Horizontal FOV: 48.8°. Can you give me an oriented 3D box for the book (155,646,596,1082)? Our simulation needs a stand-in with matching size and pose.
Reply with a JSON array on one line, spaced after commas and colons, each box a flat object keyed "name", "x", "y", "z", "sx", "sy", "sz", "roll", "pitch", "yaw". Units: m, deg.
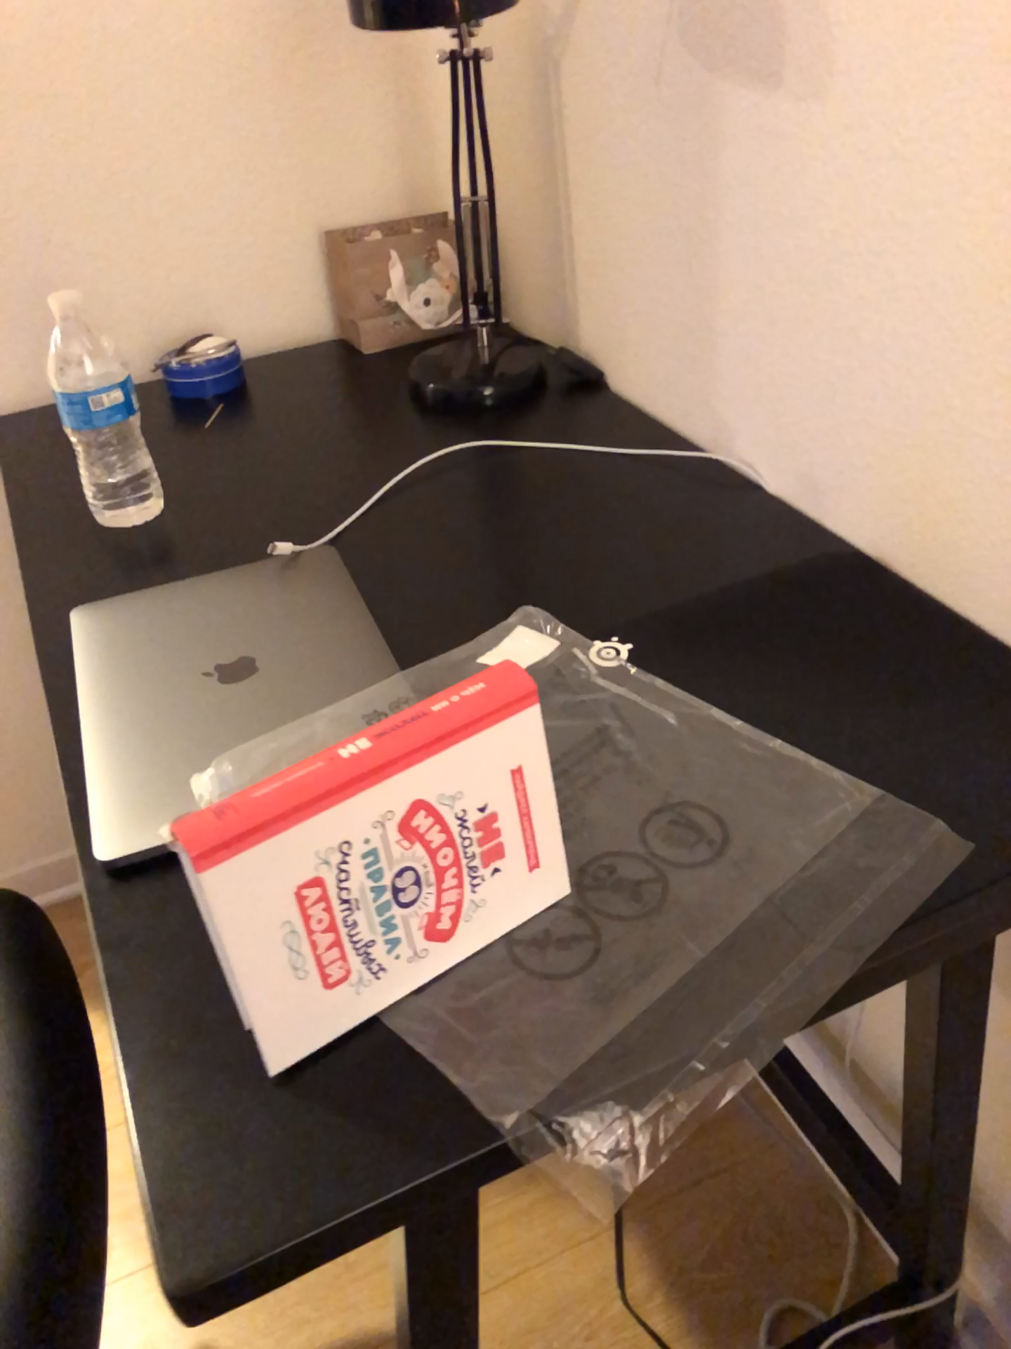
[{"name": "book", "x": -0.051, "y": 0.089, "z": 0.546, "sx": 0.200, "sy": 0.129, "sz": 0.050, "roll": -27, "pitch": 42, "yaw": -25}]
